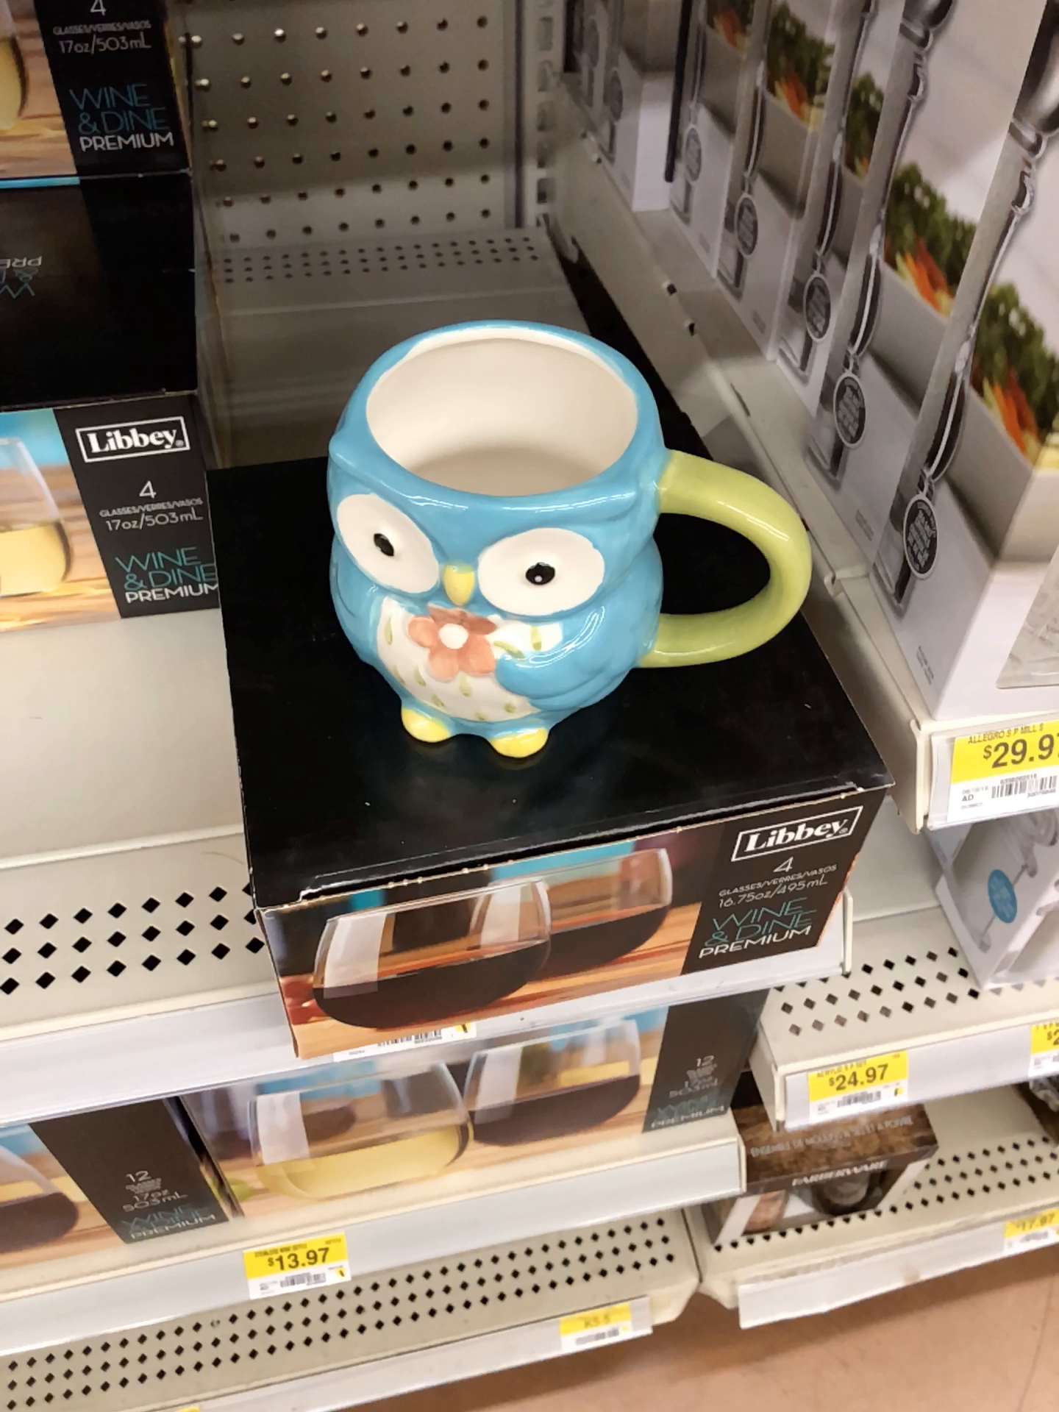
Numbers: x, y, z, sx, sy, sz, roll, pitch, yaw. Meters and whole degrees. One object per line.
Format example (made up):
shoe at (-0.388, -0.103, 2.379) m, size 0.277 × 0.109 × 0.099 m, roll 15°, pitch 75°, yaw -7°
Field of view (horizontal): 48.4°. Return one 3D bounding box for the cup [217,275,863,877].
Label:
cup at (0.006, -0.038, 0.338) m, size 0.140 × 0.110 × 0.090 m, roll 16°, pitch 51°, yaw 13°
